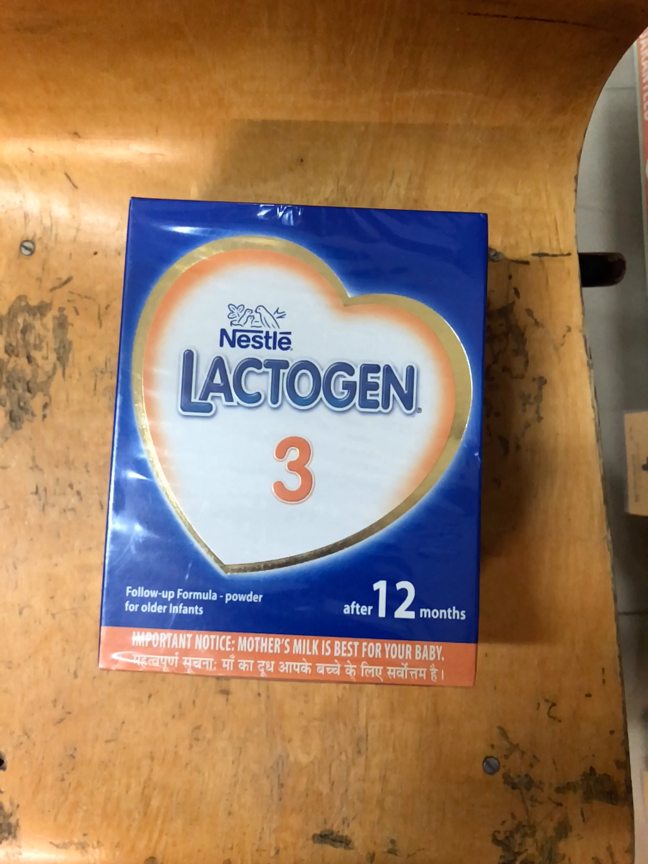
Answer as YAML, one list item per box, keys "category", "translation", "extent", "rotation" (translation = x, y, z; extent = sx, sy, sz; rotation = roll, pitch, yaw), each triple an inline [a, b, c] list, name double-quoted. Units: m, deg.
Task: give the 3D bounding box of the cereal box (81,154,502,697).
- category: "cereal box"
  translation: [-0.010, -0.003, 0.305]
  extent: [0.150, 0.060, 0.200]
  rotation: [3, 85, 0]
